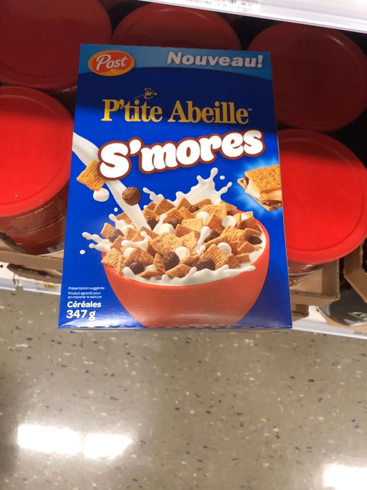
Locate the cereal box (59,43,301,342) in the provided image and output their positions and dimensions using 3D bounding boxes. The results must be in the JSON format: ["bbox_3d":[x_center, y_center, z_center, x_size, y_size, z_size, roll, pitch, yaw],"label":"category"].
[{"bbox_3d":[-0.003,-0.055,0.407,0.200,0.060,0.290,1,74,-3],"label":"cereal box"}]
